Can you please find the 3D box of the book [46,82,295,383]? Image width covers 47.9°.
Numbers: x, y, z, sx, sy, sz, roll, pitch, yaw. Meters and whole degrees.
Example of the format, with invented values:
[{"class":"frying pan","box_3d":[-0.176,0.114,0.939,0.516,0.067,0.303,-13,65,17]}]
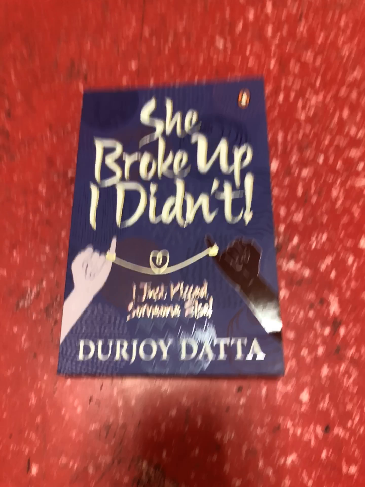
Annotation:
[{"class":"book","box_3d":[-0.006,-0.011,0.264,0.130,0.040,0.190,0,71,2]}]
